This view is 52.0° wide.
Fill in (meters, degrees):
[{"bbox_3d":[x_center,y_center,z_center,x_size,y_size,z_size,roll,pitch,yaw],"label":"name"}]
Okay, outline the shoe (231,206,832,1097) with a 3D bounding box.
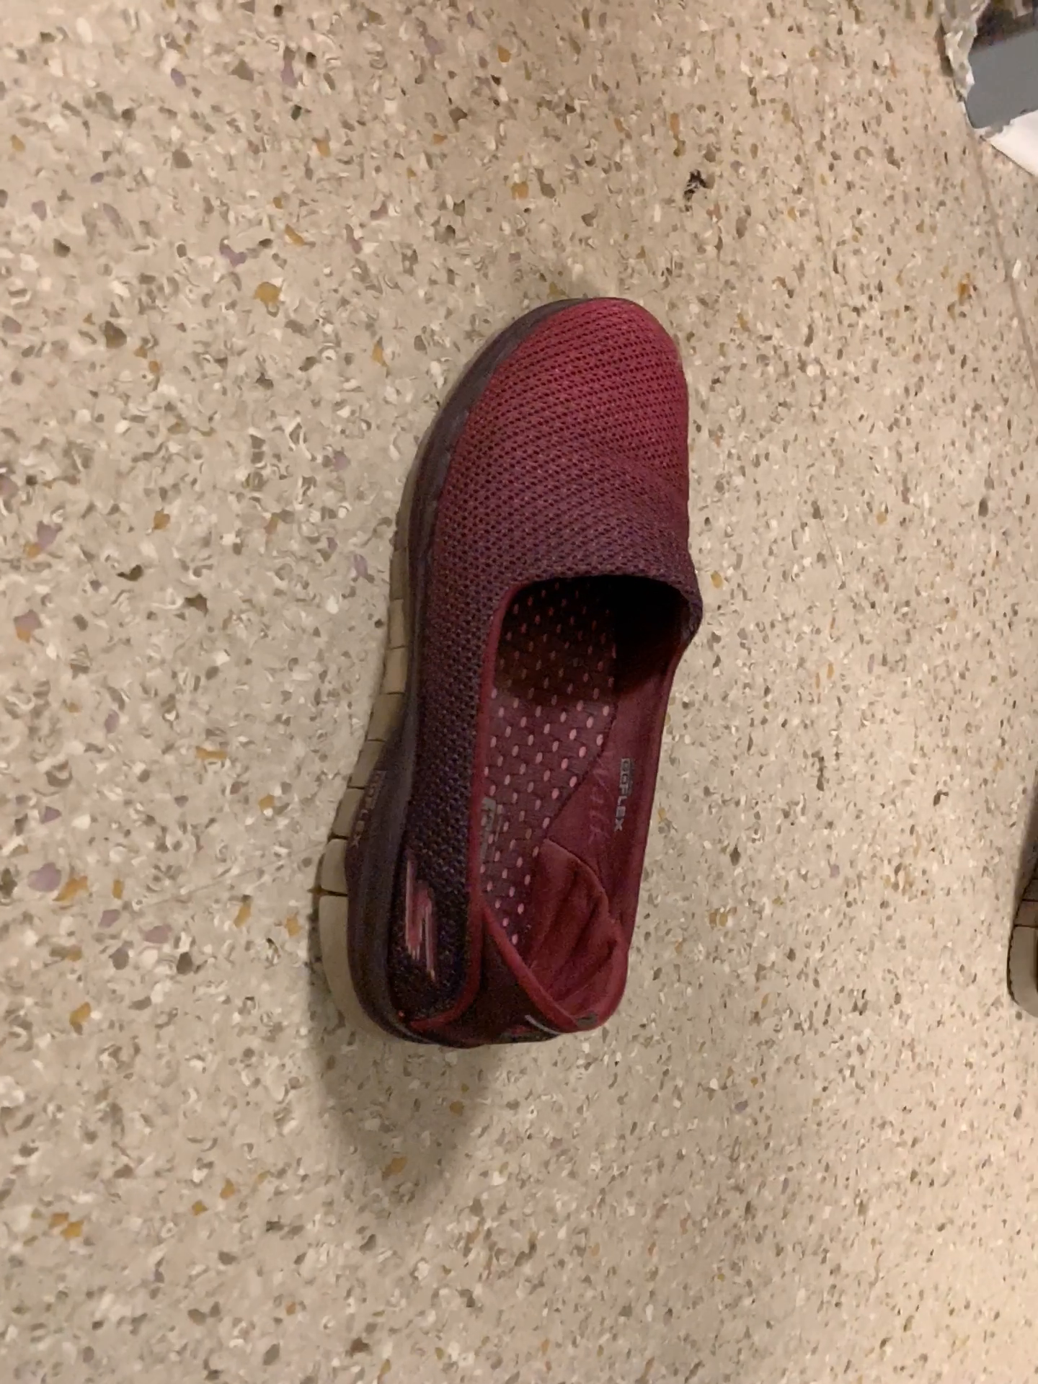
[{"bbox_3d":[0.008,-0.010,0.330,0.092,0.091,0.229,24,77,-37],"label":"shoe"}]
